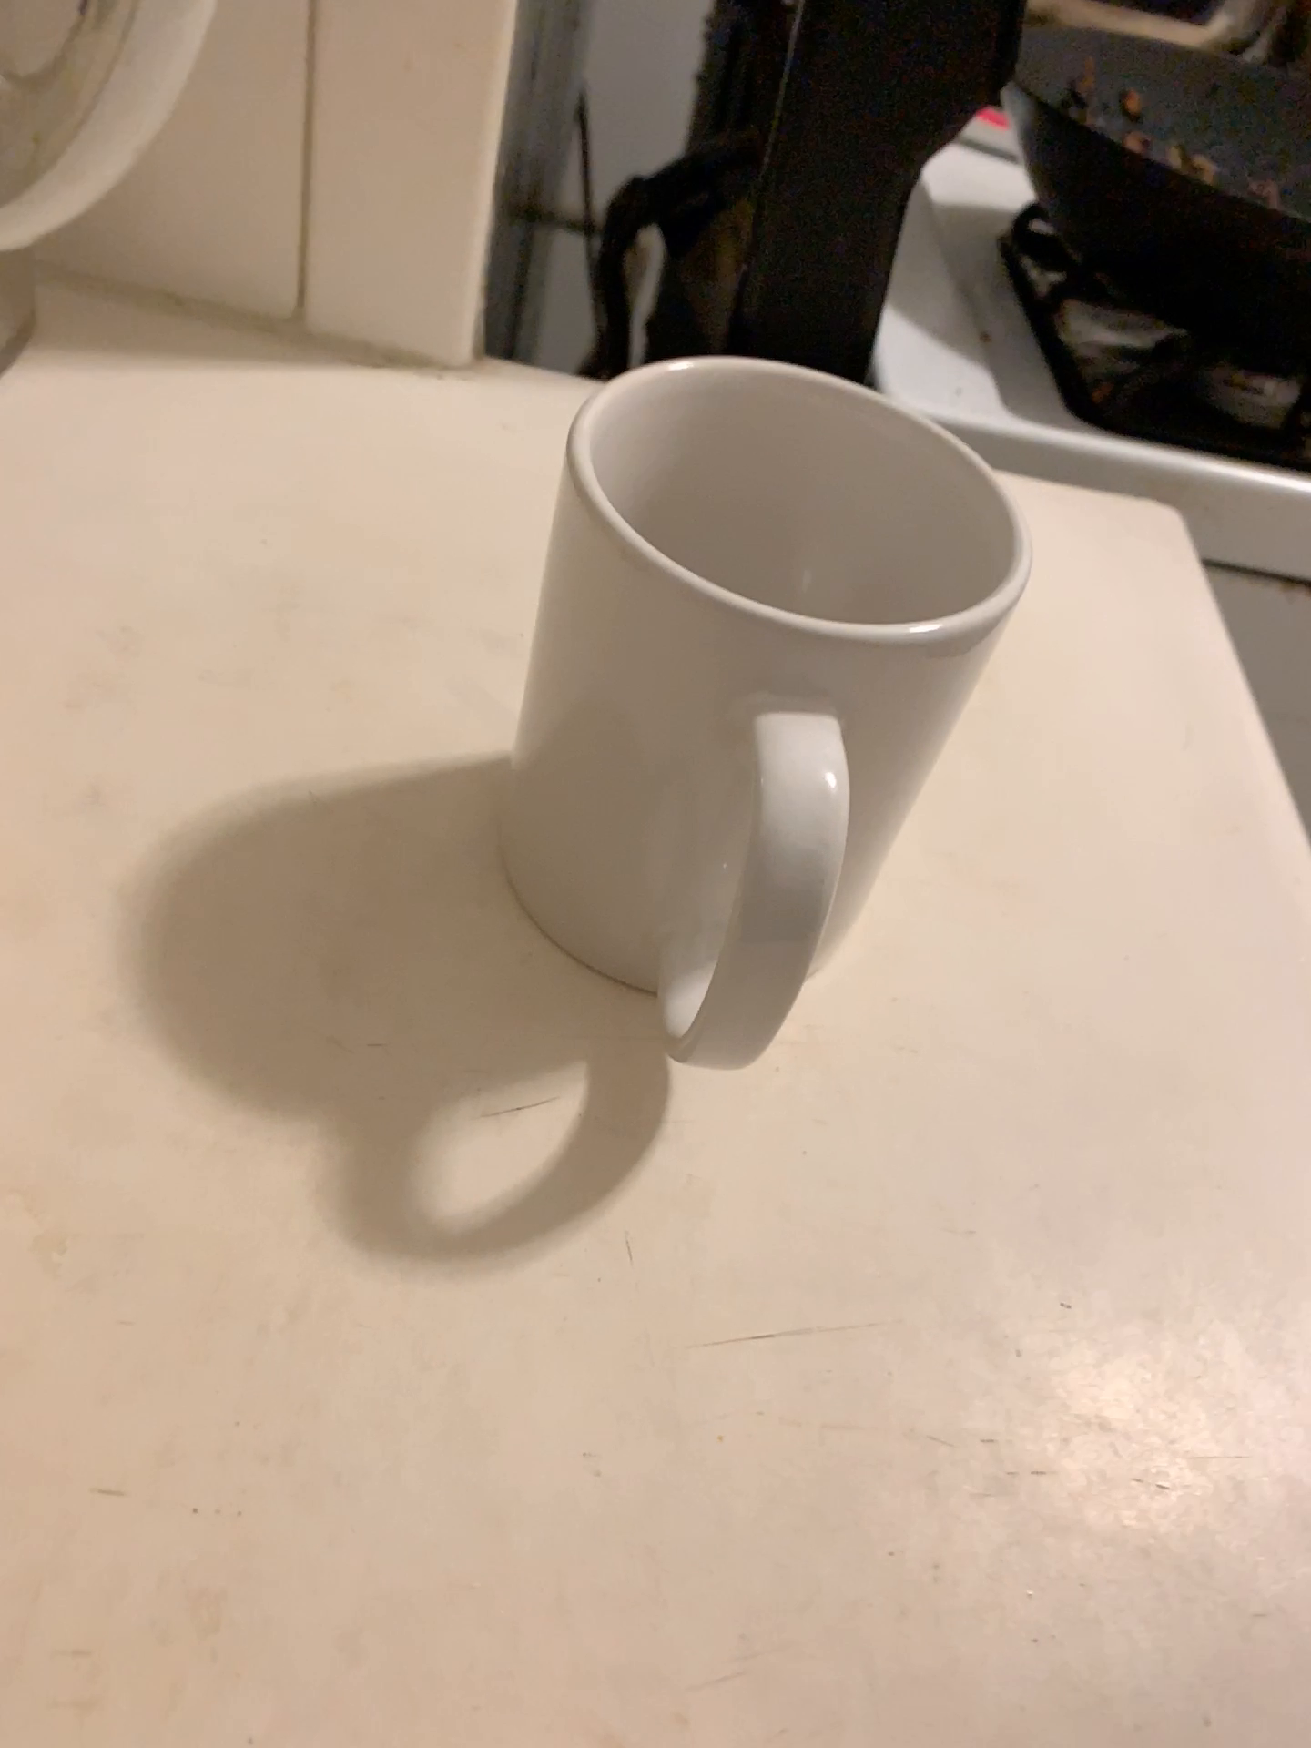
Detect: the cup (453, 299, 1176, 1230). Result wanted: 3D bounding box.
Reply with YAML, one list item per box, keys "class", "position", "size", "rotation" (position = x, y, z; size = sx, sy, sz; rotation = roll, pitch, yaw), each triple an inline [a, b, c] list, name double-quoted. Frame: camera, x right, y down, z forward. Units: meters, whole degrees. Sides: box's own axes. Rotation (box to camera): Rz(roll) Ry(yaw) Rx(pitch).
- class: "cup"
  position: [0.012, -0.021, 0.269]
  size: [0.090, 0.109, 0.141]
  rotation: [5, 46, -13]
